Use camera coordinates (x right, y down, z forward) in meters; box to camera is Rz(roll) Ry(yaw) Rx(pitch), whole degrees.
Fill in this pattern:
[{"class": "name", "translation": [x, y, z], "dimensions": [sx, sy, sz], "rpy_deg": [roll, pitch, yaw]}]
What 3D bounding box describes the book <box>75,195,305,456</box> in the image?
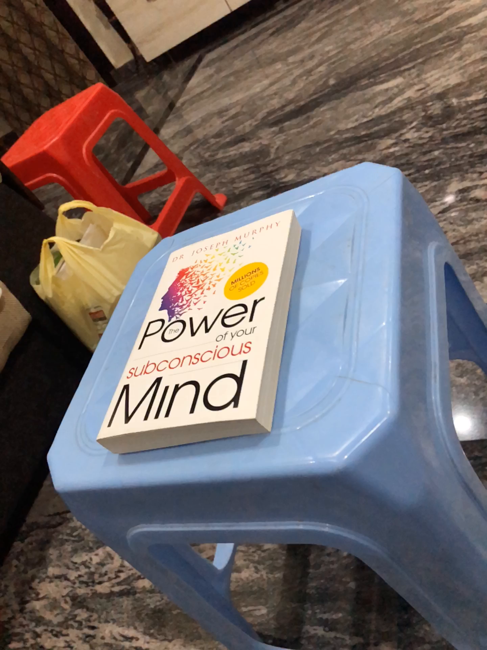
[{"class": "book", "translation": [-0.032, -0.005, 0.410], "dimensions": [0.141, 0.030, 0.200], "rpy_deg": [-16, 42, 30]}]
